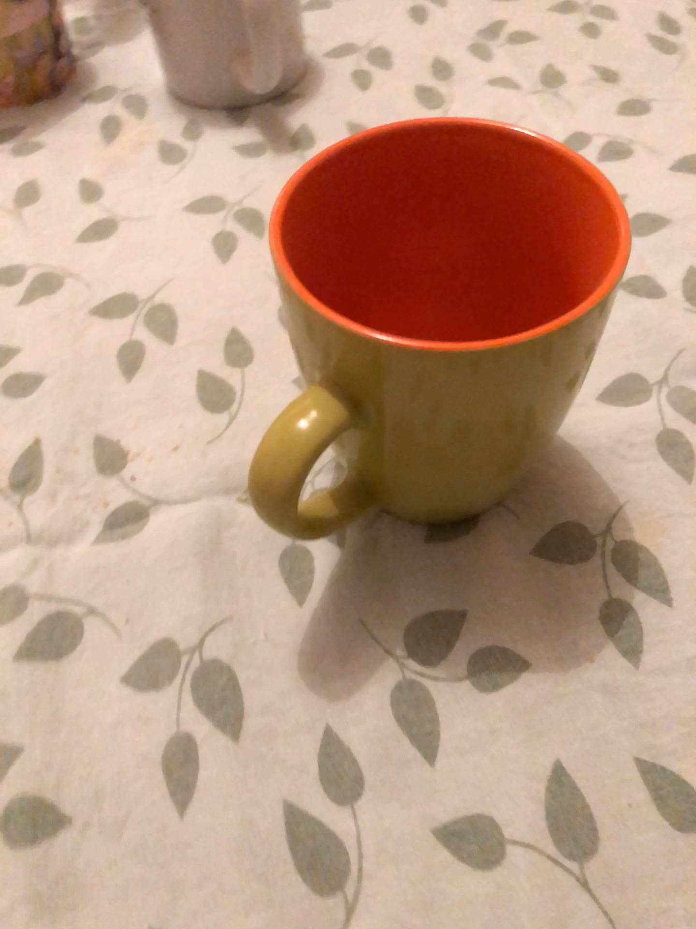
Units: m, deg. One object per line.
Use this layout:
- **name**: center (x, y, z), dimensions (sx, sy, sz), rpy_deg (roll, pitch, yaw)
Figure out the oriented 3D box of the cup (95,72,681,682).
- **cup**: center (0.017, -0.028, 0.219), dimensions (0.090, 0.089, 0.121), rpy_deg (25, 60, 20)
